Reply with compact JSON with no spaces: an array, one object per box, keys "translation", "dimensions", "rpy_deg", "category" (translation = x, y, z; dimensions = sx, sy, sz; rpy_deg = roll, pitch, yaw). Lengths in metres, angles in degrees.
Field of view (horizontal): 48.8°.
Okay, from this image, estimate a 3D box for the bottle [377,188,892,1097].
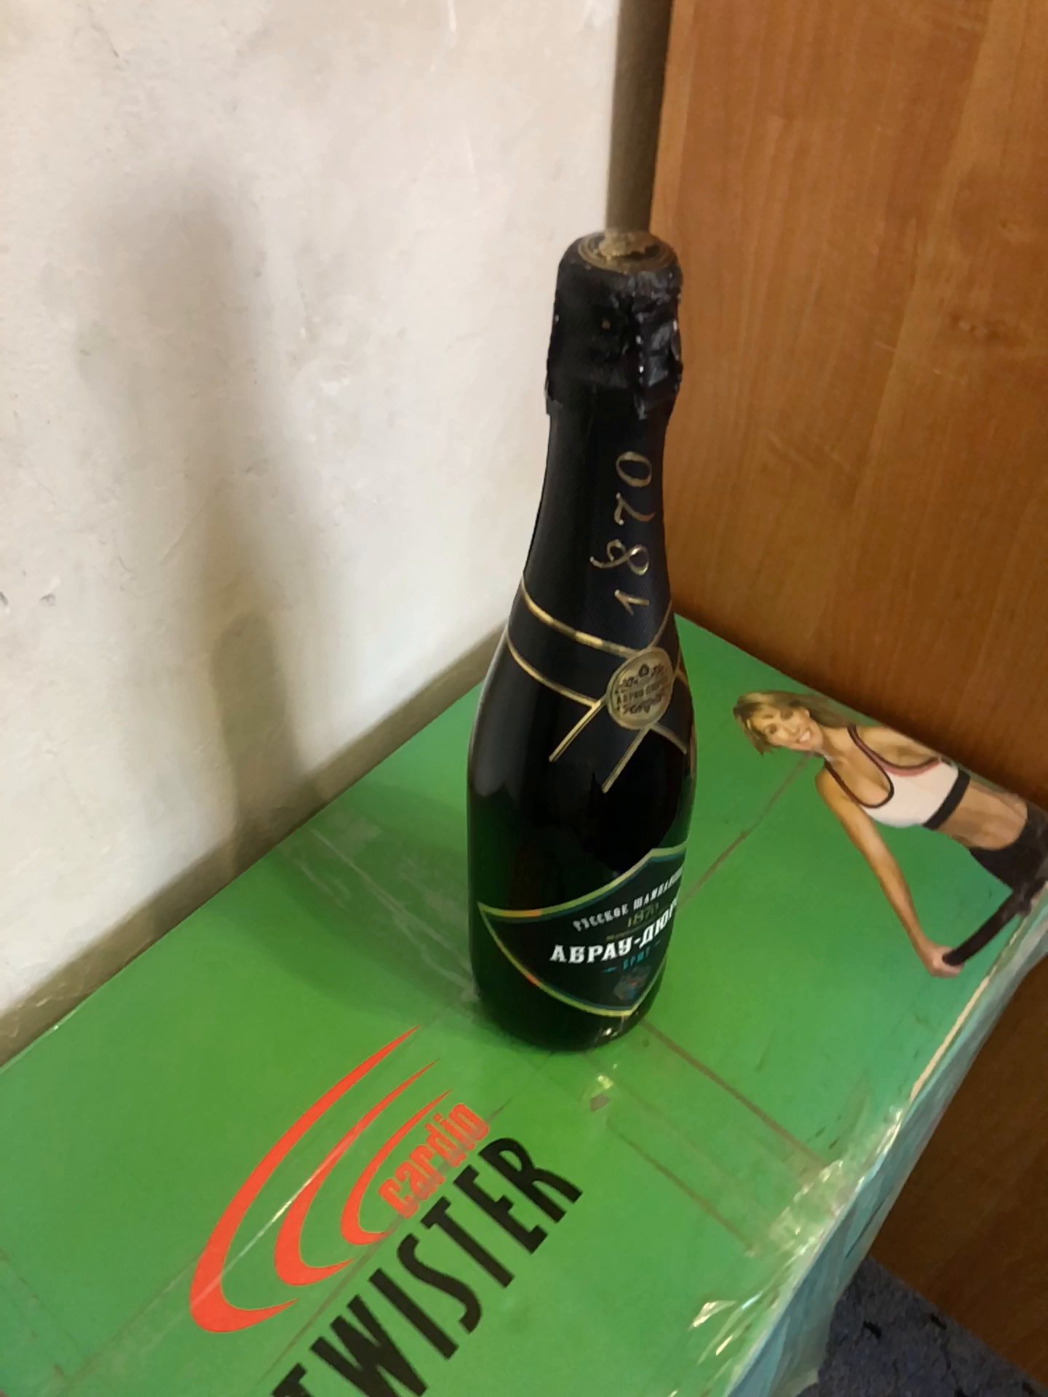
[{"translation":[0.023,0.006,0.386],"dimensions":[0.090,0.300,0.090],"rpy_deg":[0,45,0],"category":"bottle"}]
